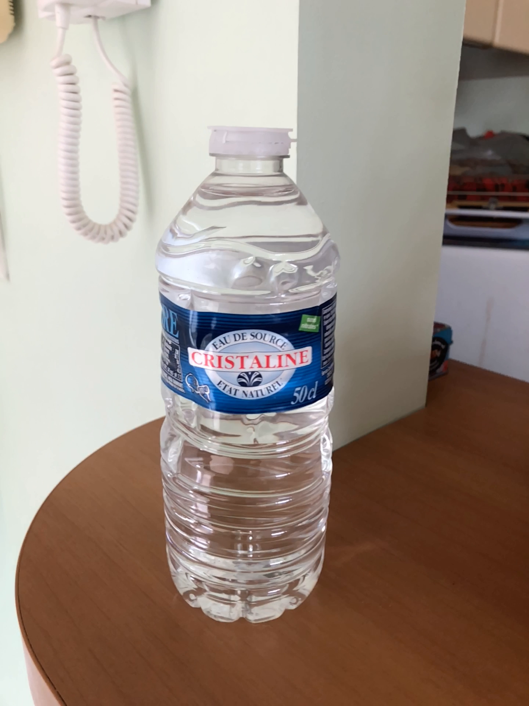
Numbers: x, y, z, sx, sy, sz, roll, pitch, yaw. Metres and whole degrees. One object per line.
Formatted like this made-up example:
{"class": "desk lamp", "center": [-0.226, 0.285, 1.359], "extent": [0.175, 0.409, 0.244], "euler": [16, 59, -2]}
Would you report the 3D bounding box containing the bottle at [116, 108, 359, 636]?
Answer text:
{"class": "bottle", "center": [-0.010, 0.008, 0.234], "extent": [0.070, 0.189, 0.070], "euler": [0, 19, 0]}
